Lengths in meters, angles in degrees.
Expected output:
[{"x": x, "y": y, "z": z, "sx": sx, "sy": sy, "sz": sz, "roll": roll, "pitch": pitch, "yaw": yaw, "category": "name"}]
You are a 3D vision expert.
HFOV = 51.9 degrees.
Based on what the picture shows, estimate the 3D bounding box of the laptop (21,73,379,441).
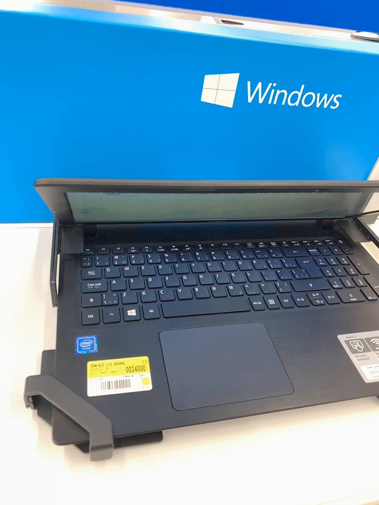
[{"x": 0.067, "y": -0.020, "z": 0.329, "sx": 0.344, "sy": 0.157, "sz": 0.234, "roll": -2, "pitch": 40, "yaw": -14, "category": "laptop"}]
